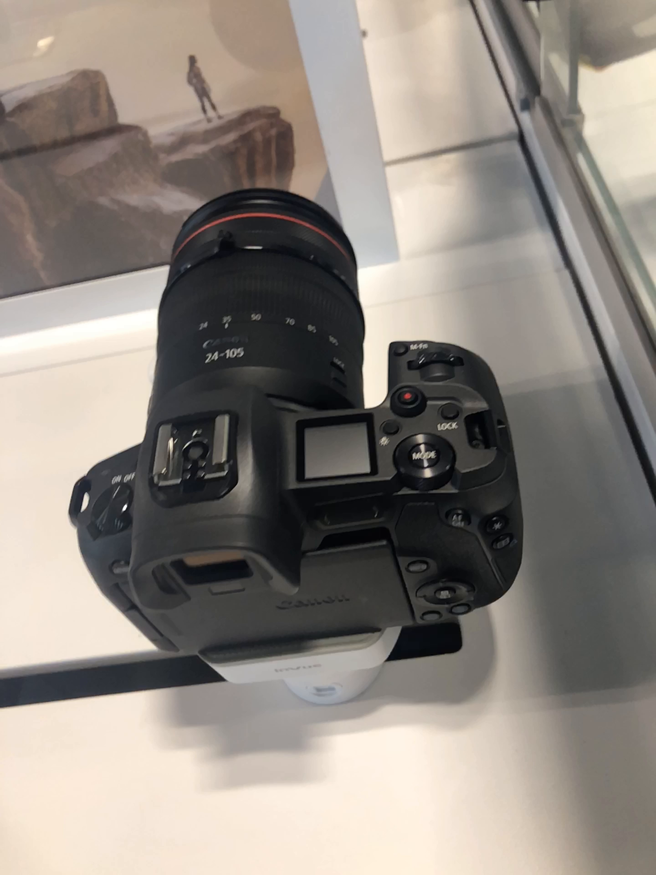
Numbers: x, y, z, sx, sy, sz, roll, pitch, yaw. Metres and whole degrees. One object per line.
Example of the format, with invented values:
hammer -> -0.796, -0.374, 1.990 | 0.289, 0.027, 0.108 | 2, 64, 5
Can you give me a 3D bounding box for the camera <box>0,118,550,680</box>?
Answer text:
camera -> -0.015, -0.014, 0.245 | 0.139, 0.086, 0.145 | -10, 51, 8
